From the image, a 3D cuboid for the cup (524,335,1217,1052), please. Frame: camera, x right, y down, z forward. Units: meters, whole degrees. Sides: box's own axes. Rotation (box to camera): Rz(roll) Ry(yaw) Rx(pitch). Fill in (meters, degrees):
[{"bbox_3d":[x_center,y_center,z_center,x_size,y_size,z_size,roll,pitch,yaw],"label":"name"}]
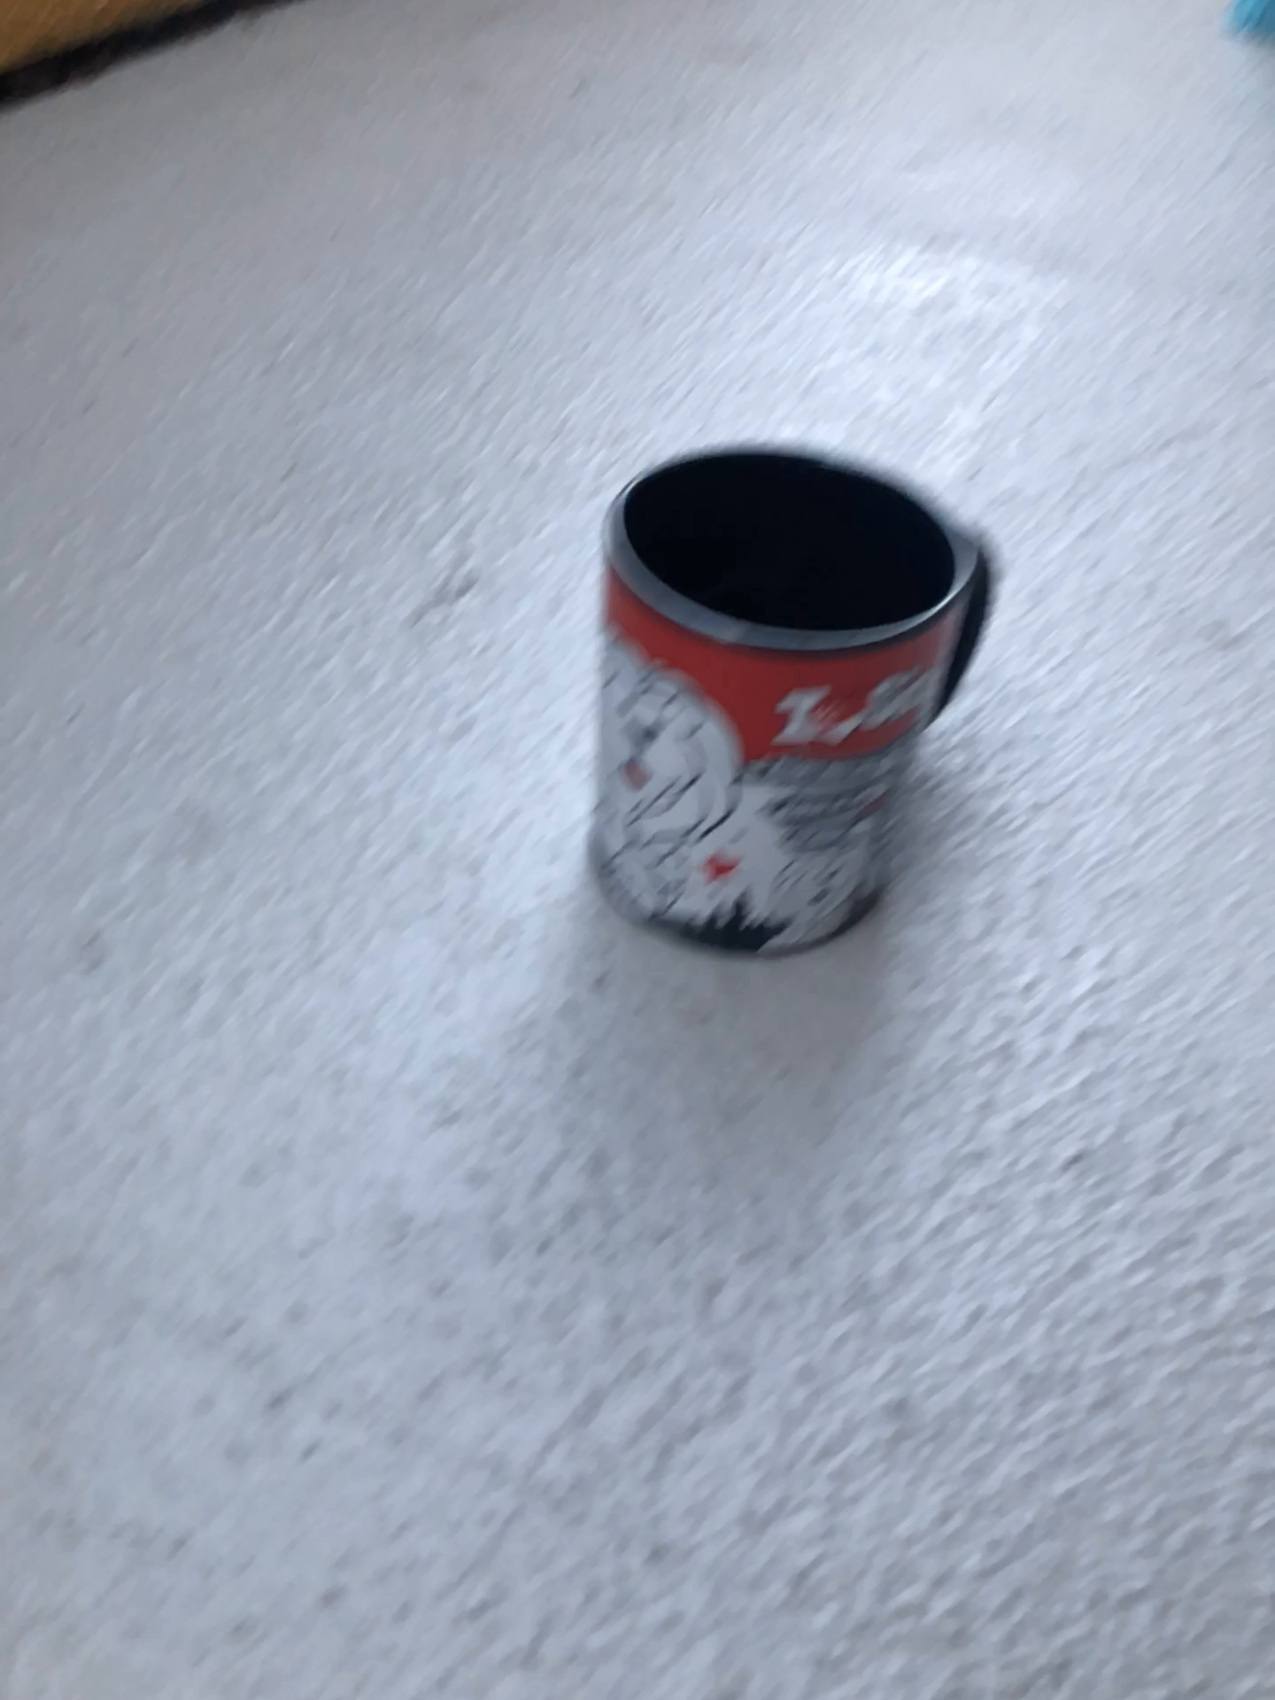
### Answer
[{"bbox_3d":[0.050,-0.042,0.341,0.130,0.110,0.080,-28,54,-30],"label":"cup"}]
